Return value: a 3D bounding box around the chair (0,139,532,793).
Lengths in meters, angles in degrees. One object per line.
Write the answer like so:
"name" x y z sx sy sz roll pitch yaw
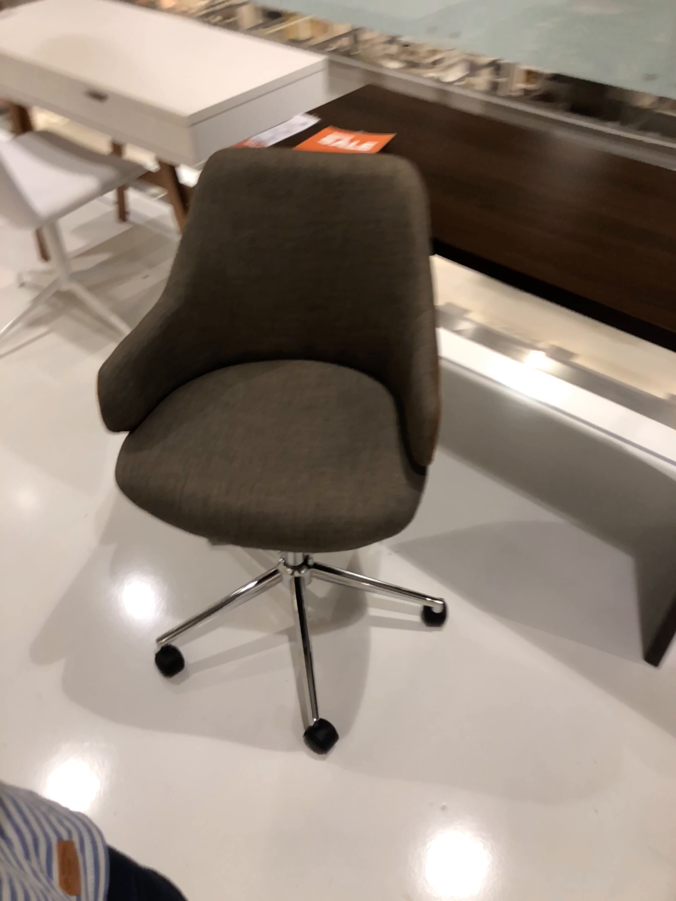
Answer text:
"chair" -0.054 0.039 1.330 0.610 0.884 0.705 5 45 6
